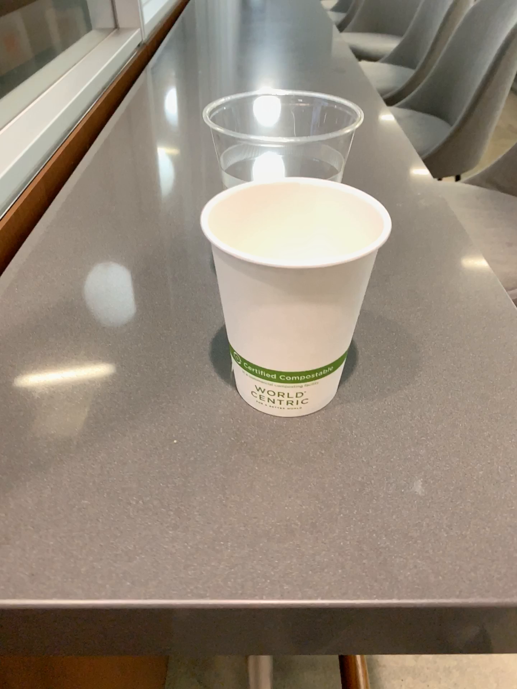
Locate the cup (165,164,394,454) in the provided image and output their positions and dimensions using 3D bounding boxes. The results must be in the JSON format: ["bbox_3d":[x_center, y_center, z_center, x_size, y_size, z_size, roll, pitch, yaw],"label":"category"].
[{"bbox_3d":[0.016,-0.020,0.278,0.090,0.109,0.090,-1,39,1],"label":"cup"}]

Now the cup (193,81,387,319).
[{"bbox_3d":[0.023,-0.094,0.346,0.100,0.119,0.080,7,40,10],"label":"cup"}]
